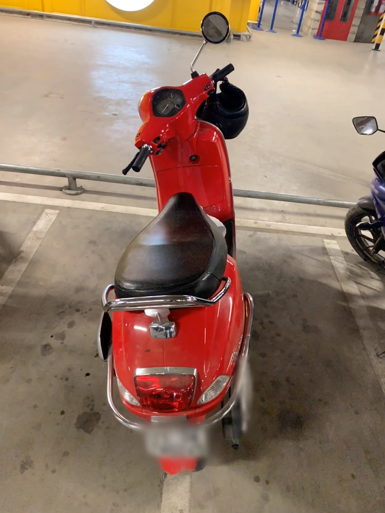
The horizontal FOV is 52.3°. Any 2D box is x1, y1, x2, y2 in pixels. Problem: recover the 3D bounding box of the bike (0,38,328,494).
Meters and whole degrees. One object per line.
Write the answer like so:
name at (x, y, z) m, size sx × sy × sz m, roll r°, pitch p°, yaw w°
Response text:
bike at (-0.184, -0.128, 1.750) m, size 0.632 × 1.201 × 1.688 m, roll 3°, pitch 37°, yaw -7°
